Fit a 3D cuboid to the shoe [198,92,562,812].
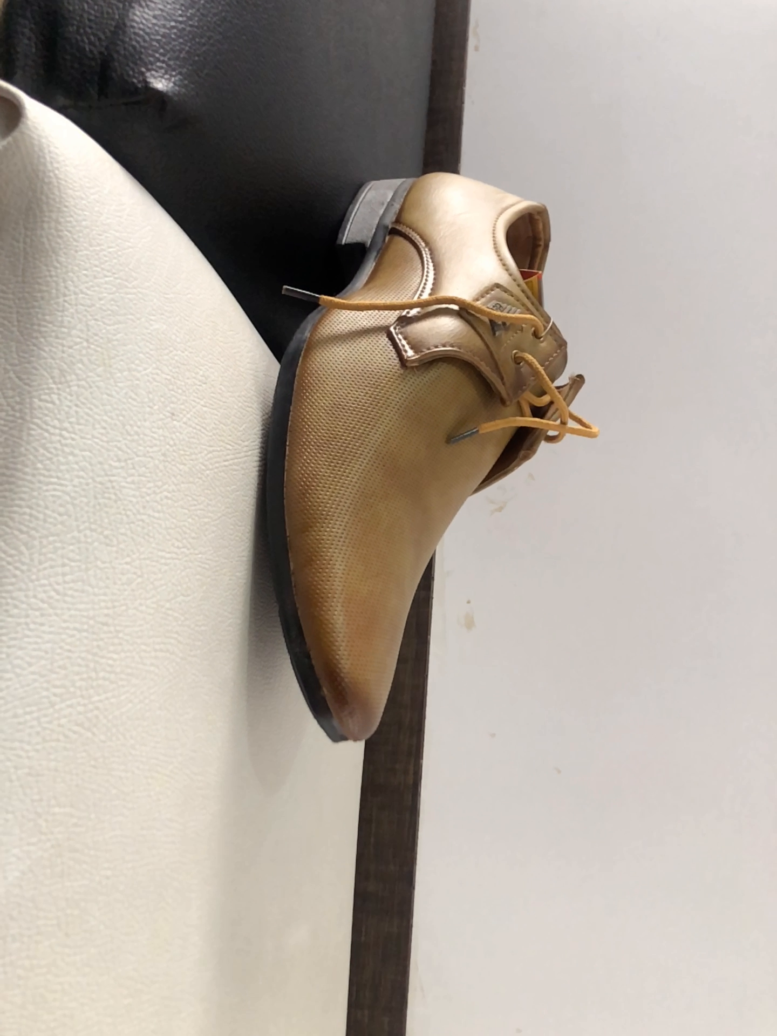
[{"bbox_3d":[0.020,-0.044,0.355,0.100,0.090,0.290,71,23,-53],"label":"shoe"}]
